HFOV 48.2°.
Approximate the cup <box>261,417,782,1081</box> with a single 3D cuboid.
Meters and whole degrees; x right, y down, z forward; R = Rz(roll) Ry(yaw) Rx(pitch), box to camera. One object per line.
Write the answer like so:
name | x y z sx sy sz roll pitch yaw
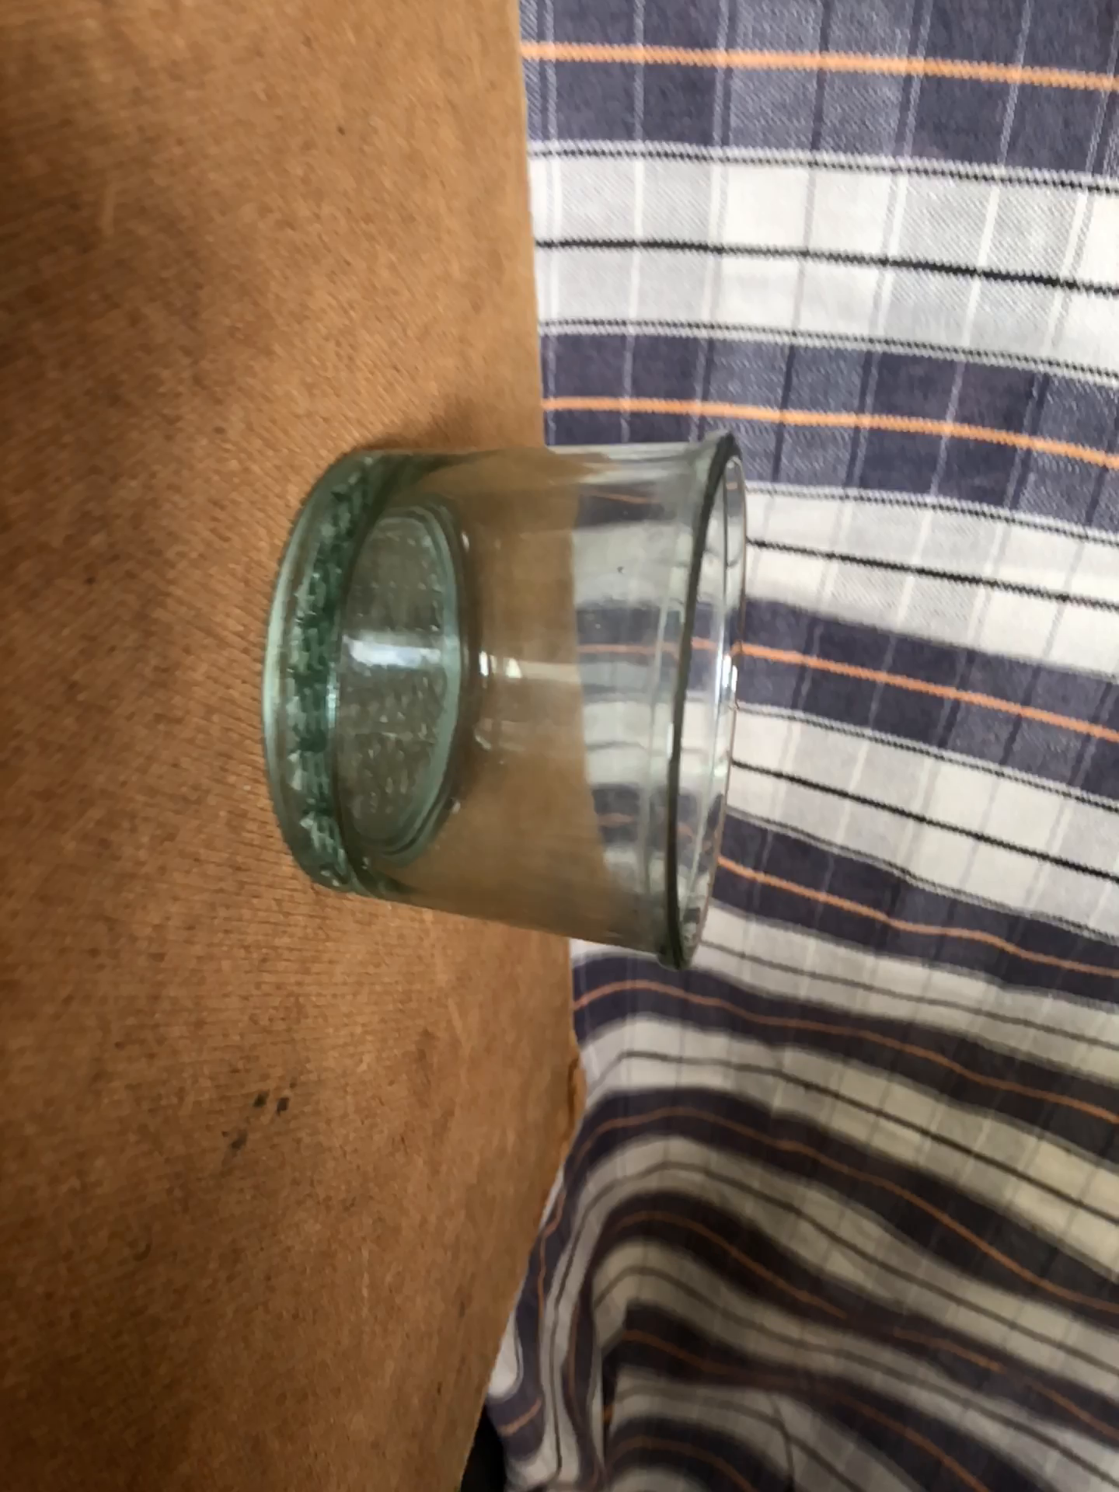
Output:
cup | -0.001 -0.004 0.193 0.070 0.060 0.080 -25 119 -76
